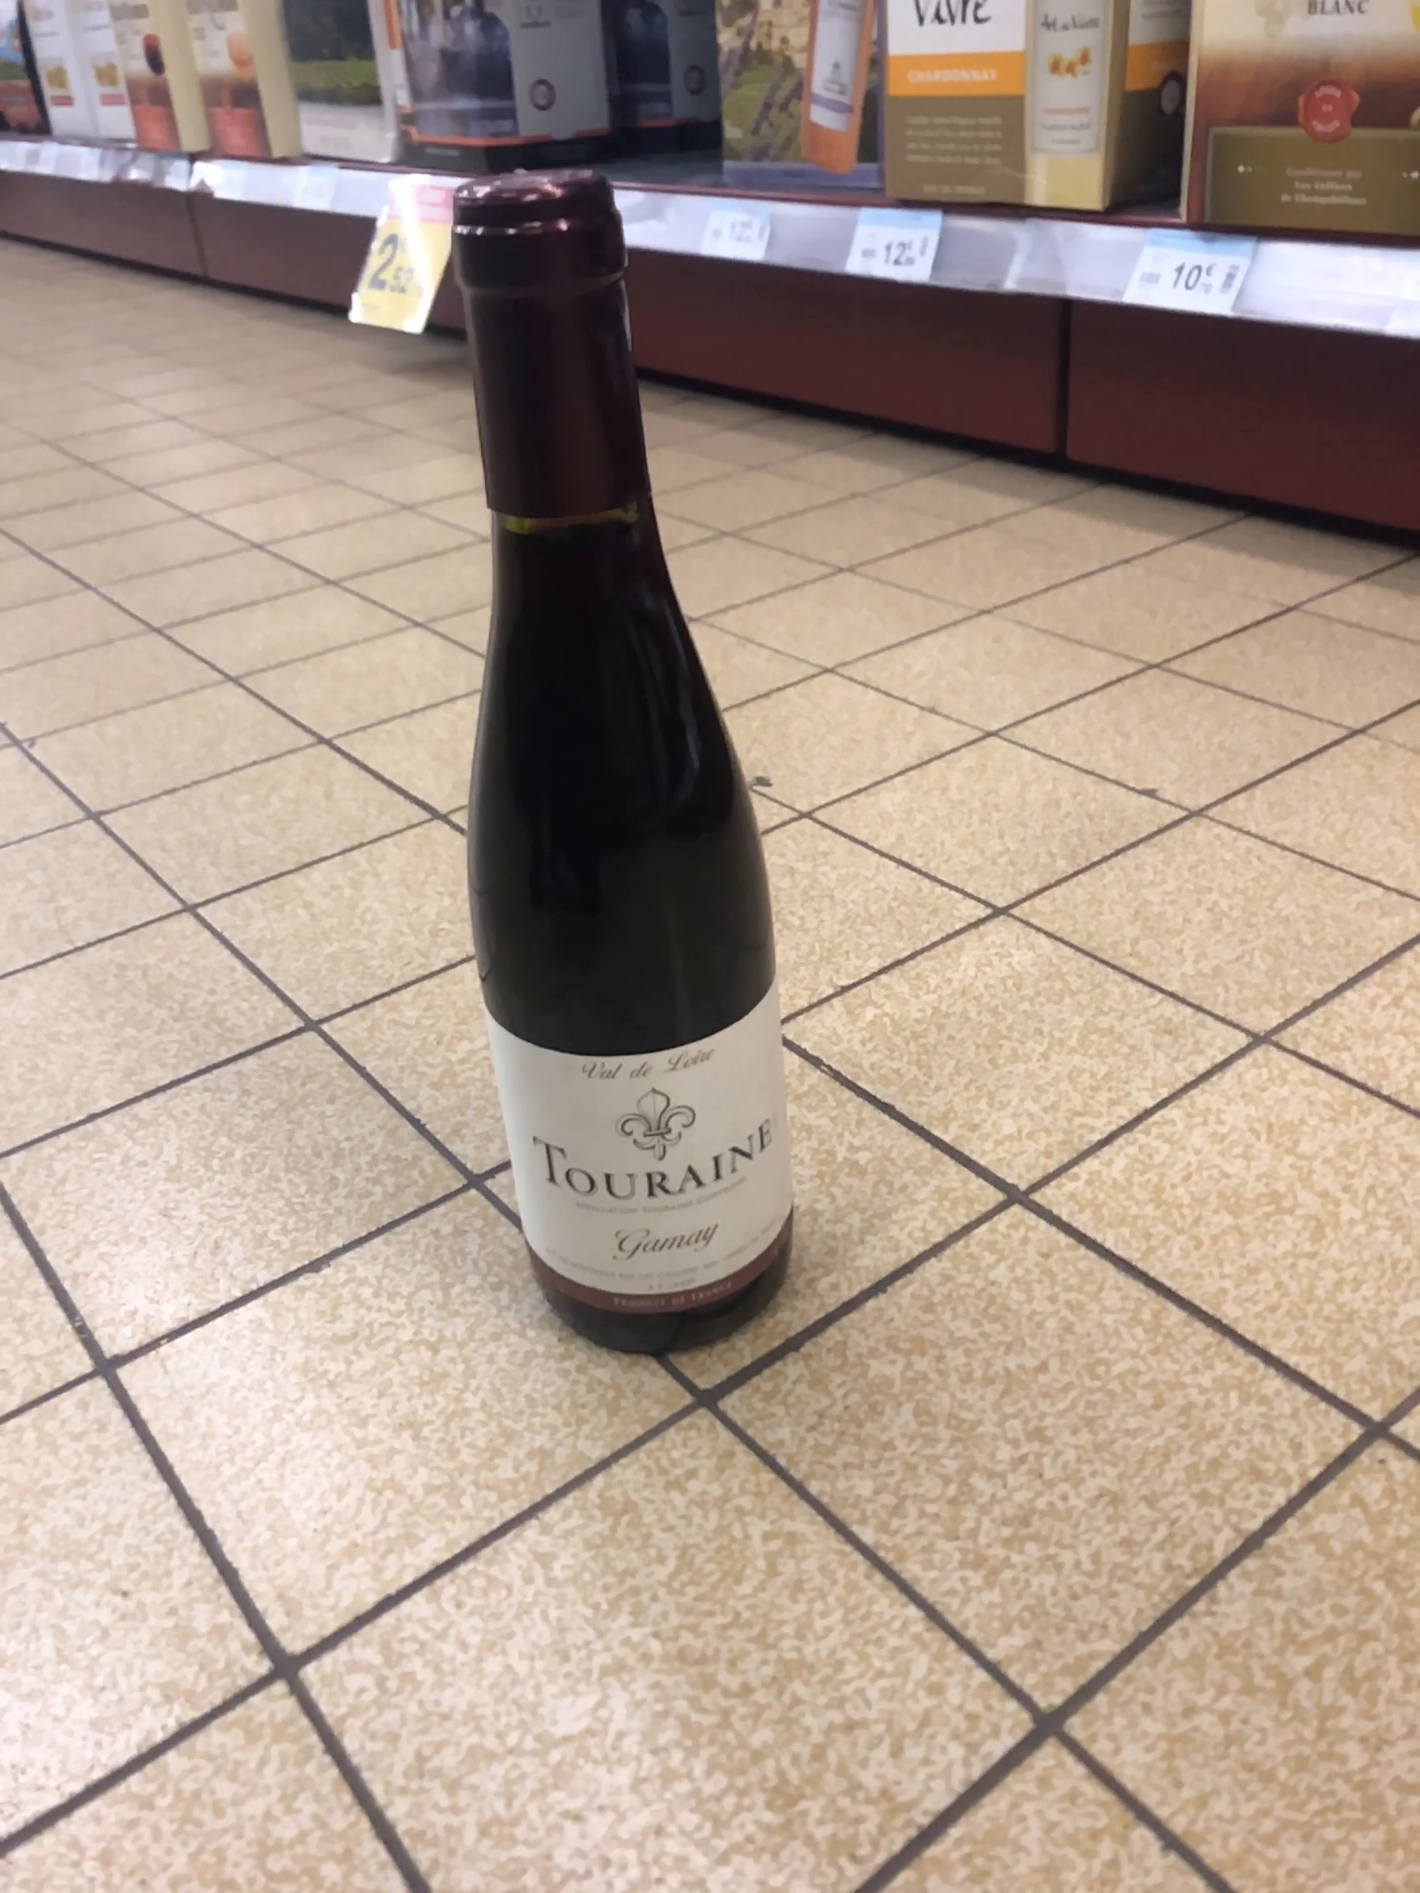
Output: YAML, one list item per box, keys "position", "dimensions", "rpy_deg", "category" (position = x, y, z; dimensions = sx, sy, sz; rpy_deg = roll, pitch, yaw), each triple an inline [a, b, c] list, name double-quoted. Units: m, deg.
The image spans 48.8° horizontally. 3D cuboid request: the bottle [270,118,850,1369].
- position: [-0.016, -0.029, 0.317]
  dimensions: [0.080, 0.239, 0.070]
  rpy_deg: [-3, 30, 2]
  category: "bottle"
